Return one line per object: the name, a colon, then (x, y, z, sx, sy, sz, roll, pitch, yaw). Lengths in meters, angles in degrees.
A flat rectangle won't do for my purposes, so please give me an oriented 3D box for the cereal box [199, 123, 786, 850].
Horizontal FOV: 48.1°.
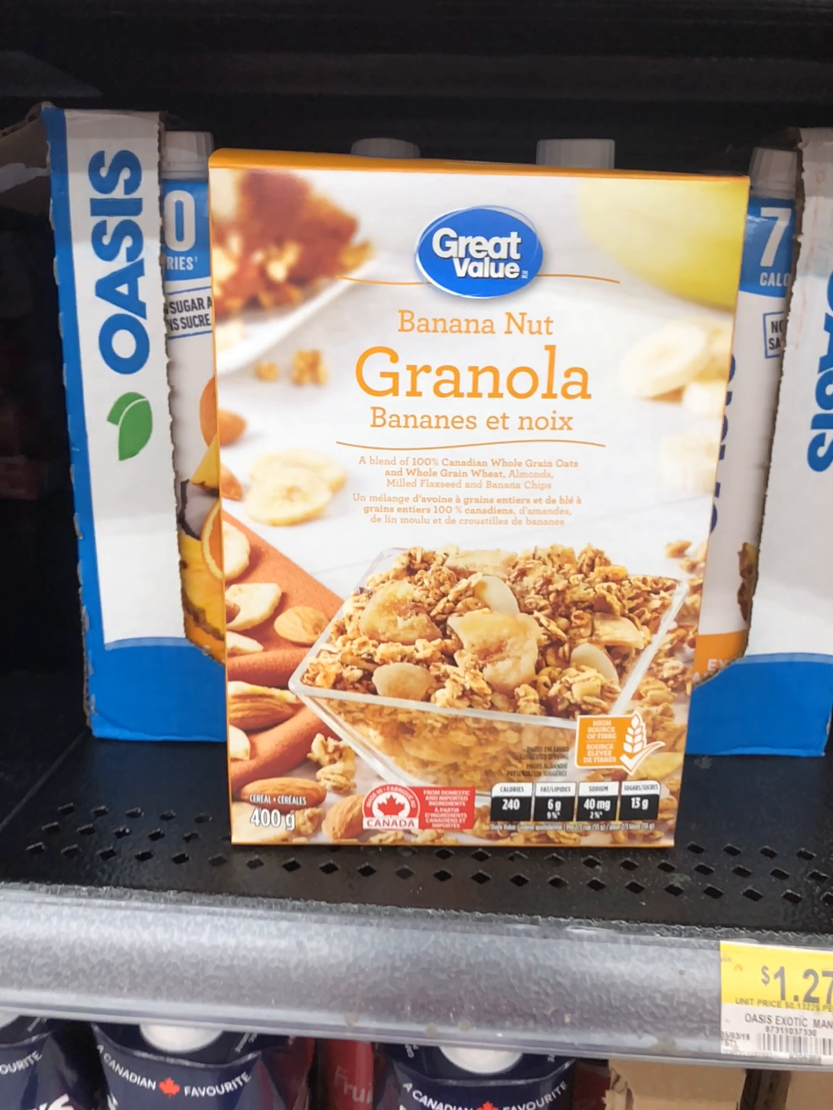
cereal box: (0.018, -0.017, 0.310, 0.160, 0.219, 0.060, 1, 15, -2)
